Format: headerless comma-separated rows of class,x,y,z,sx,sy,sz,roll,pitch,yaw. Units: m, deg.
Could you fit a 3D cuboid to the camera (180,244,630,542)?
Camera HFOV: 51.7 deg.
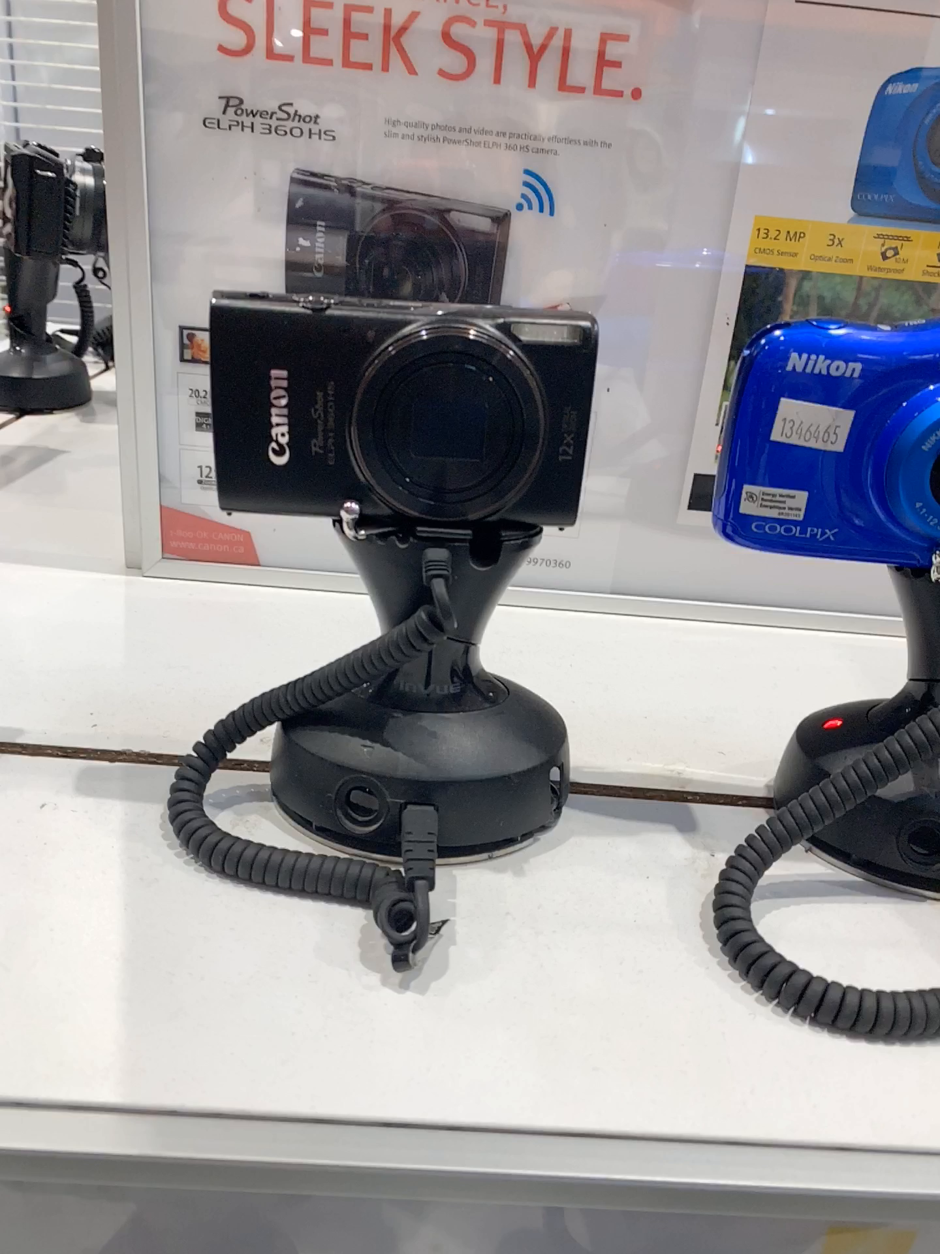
camera,-0.018,-0.059,0.245,0.100,0.060,0.040,2,23,-7
